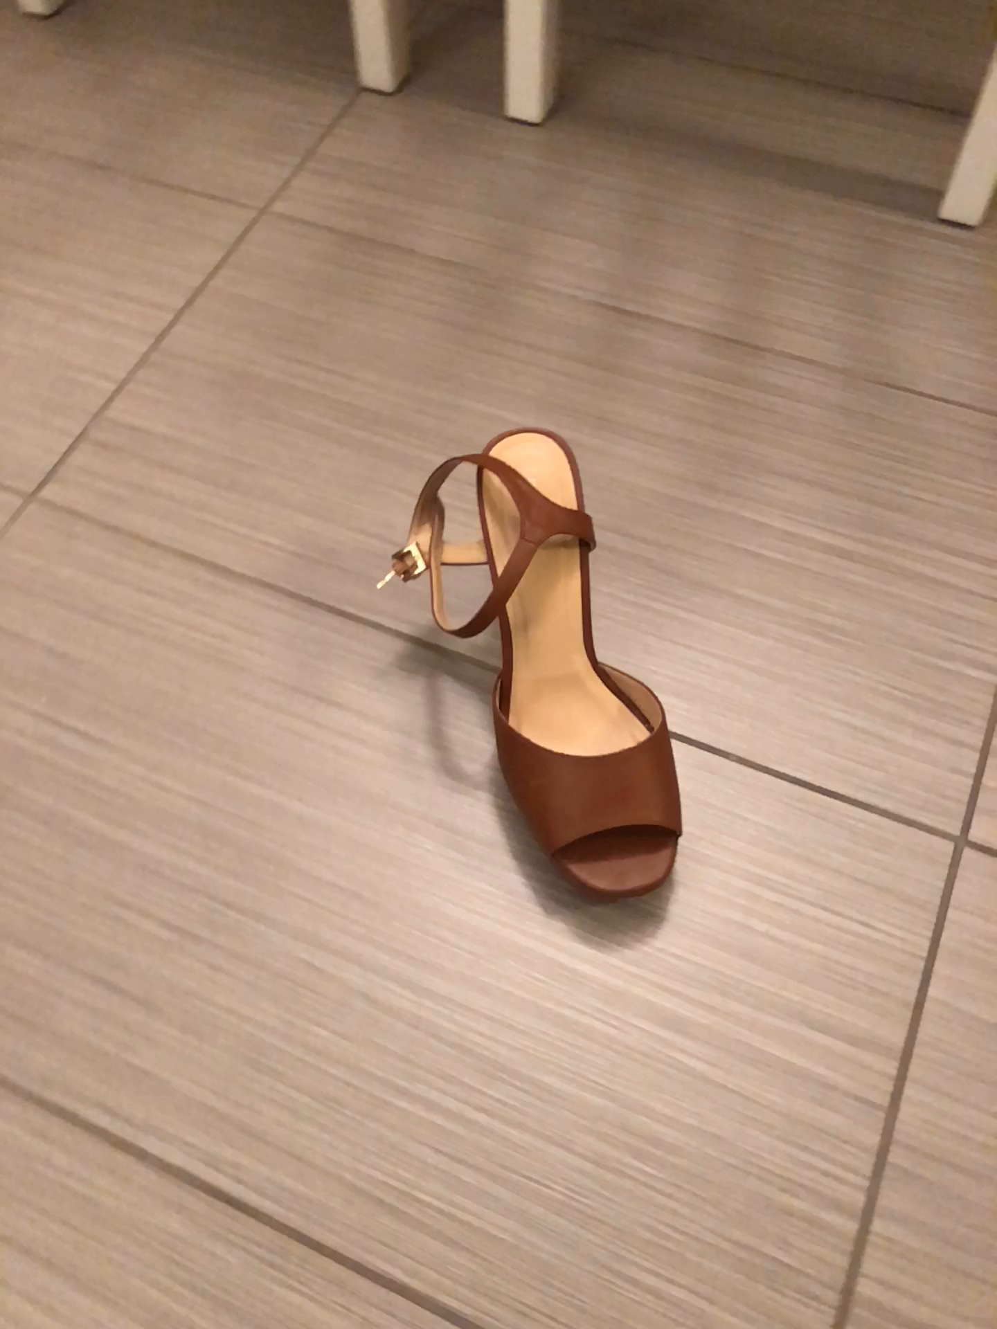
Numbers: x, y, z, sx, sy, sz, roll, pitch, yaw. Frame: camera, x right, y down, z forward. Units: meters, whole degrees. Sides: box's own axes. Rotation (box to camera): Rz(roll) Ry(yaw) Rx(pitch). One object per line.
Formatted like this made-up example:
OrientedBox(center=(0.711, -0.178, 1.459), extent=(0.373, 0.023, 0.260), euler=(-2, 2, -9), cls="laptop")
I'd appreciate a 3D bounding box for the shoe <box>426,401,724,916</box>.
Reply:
OrientedBox(center=(0.032, -0.006, 0.570), extent=(0.110, 0.090, 0.241), euler=(-7, 65, 0), cls="shoe")
